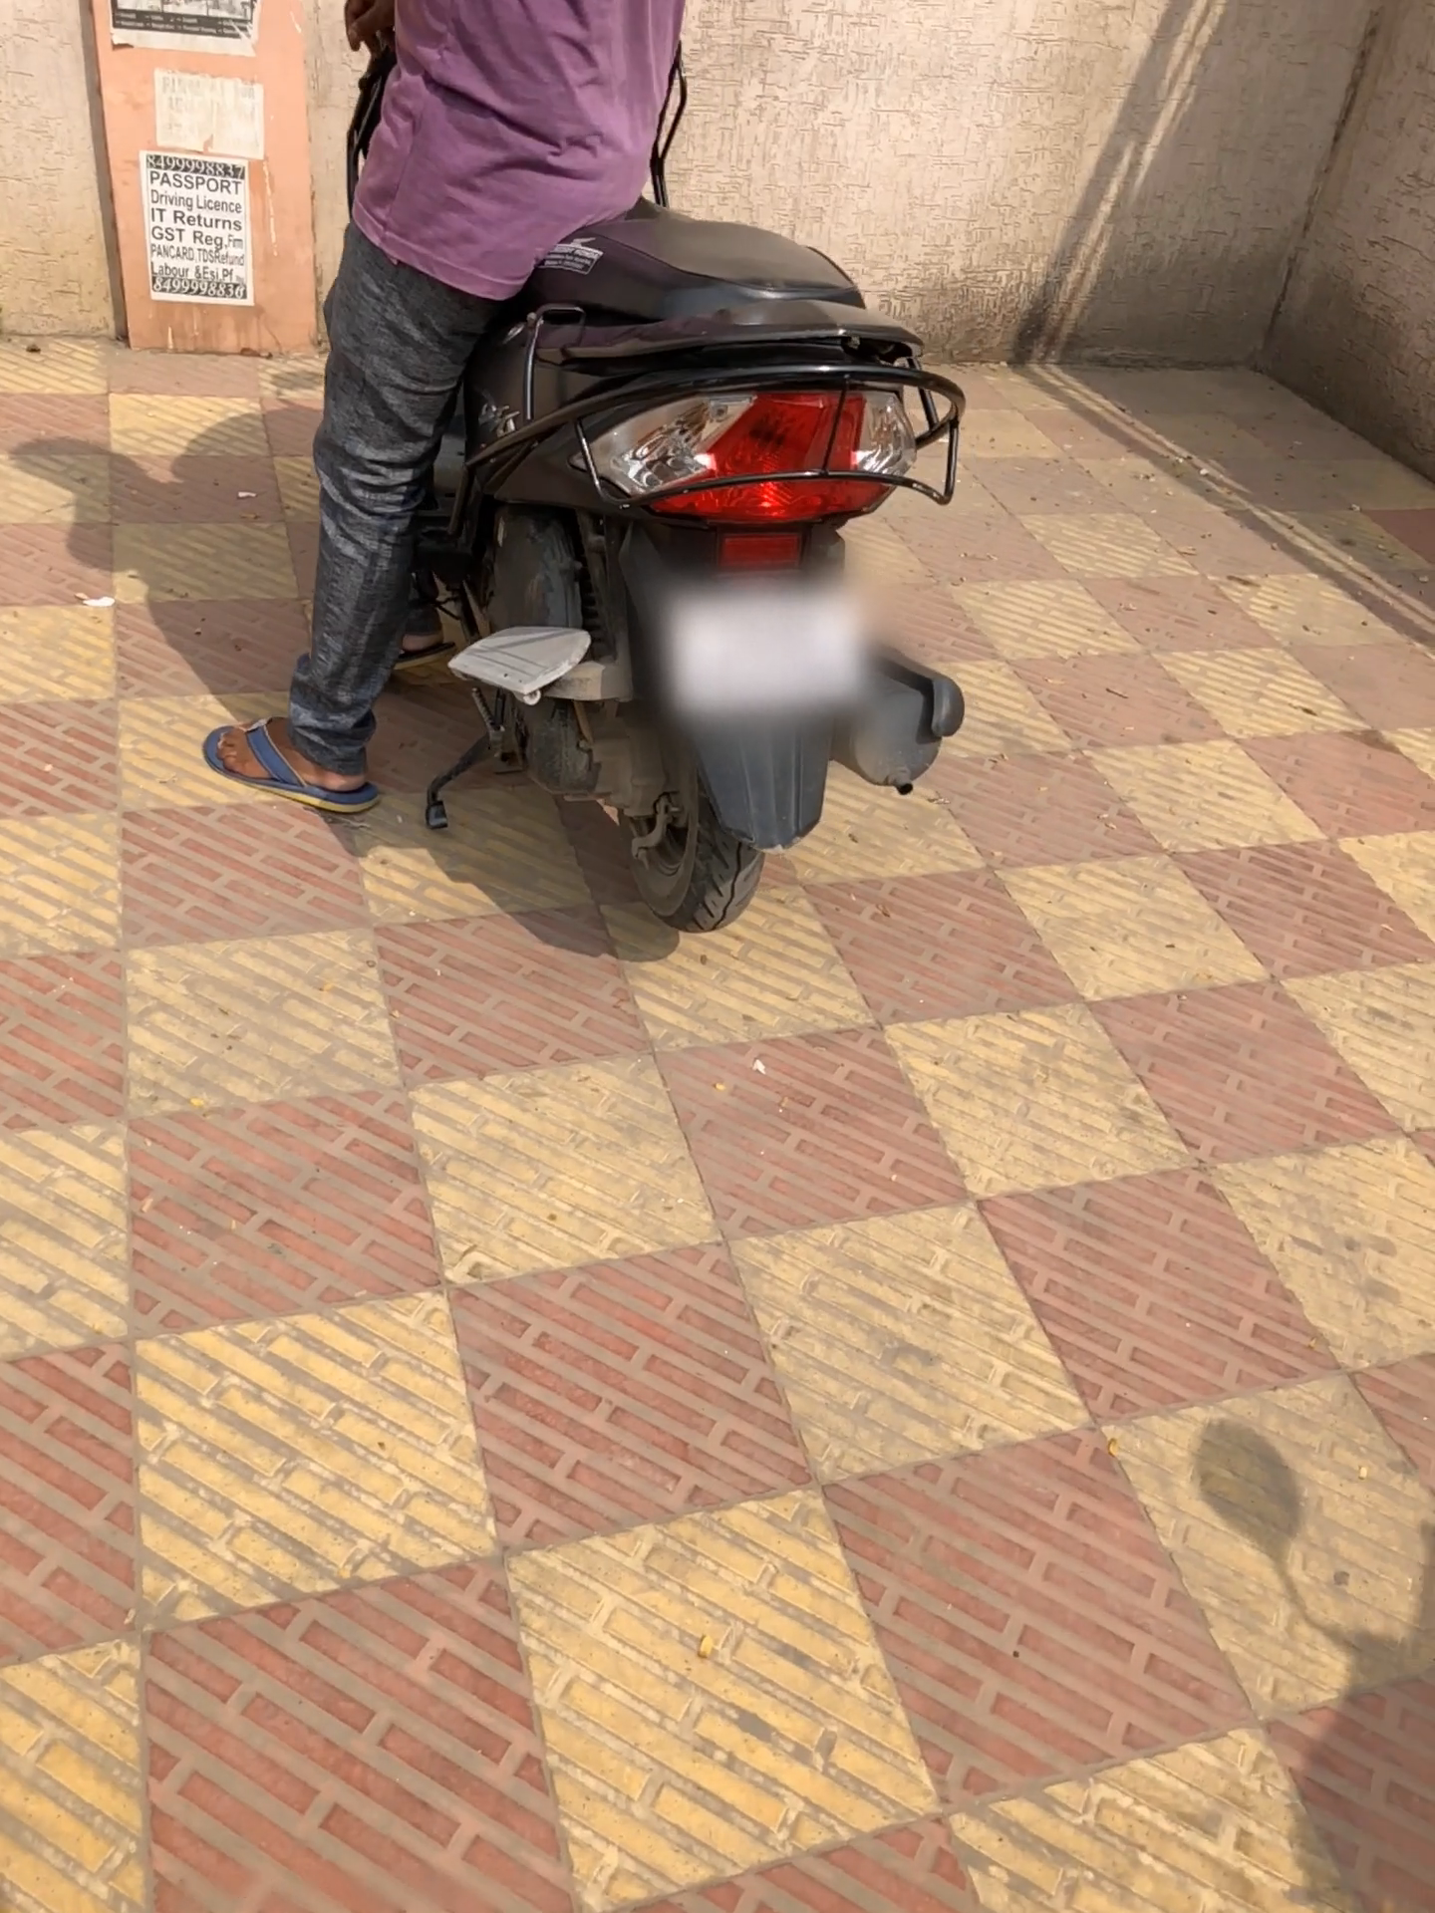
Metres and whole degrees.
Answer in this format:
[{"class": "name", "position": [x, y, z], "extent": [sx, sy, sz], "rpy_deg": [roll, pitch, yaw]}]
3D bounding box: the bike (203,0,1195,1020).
[{"class": "bike", "position": [-0.216, -0.791, 2.105], "extent": [0.575, 0.987, 1.511], "rpy_deg": [-10, 41, -22]}]
